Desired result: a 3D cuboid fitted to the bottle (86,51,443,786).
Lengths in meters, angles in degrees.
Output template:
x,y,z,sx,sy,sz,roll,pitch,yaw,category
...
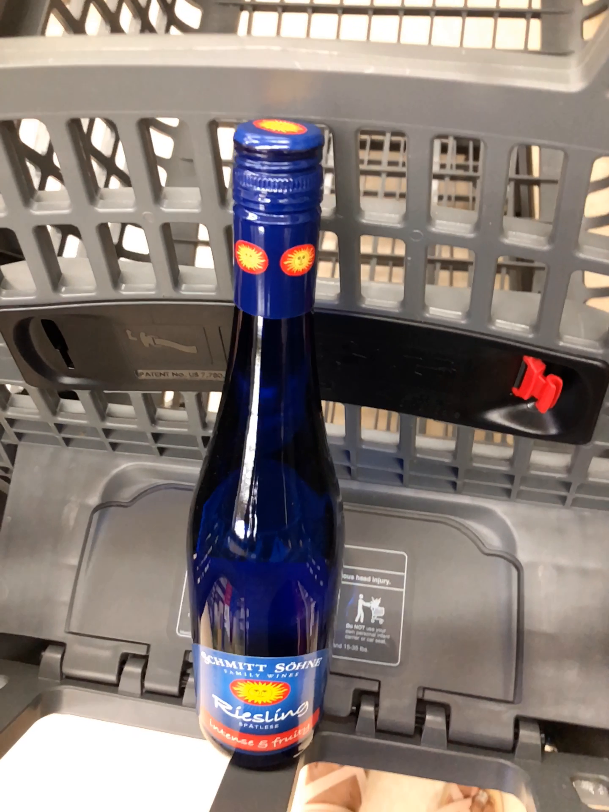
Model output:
x,y,z,sx,sy,sz,roll,pitch,yaw,category
-0.016,0.034,0.325,0.100,0.100,0.351,6,124,4,bottle
